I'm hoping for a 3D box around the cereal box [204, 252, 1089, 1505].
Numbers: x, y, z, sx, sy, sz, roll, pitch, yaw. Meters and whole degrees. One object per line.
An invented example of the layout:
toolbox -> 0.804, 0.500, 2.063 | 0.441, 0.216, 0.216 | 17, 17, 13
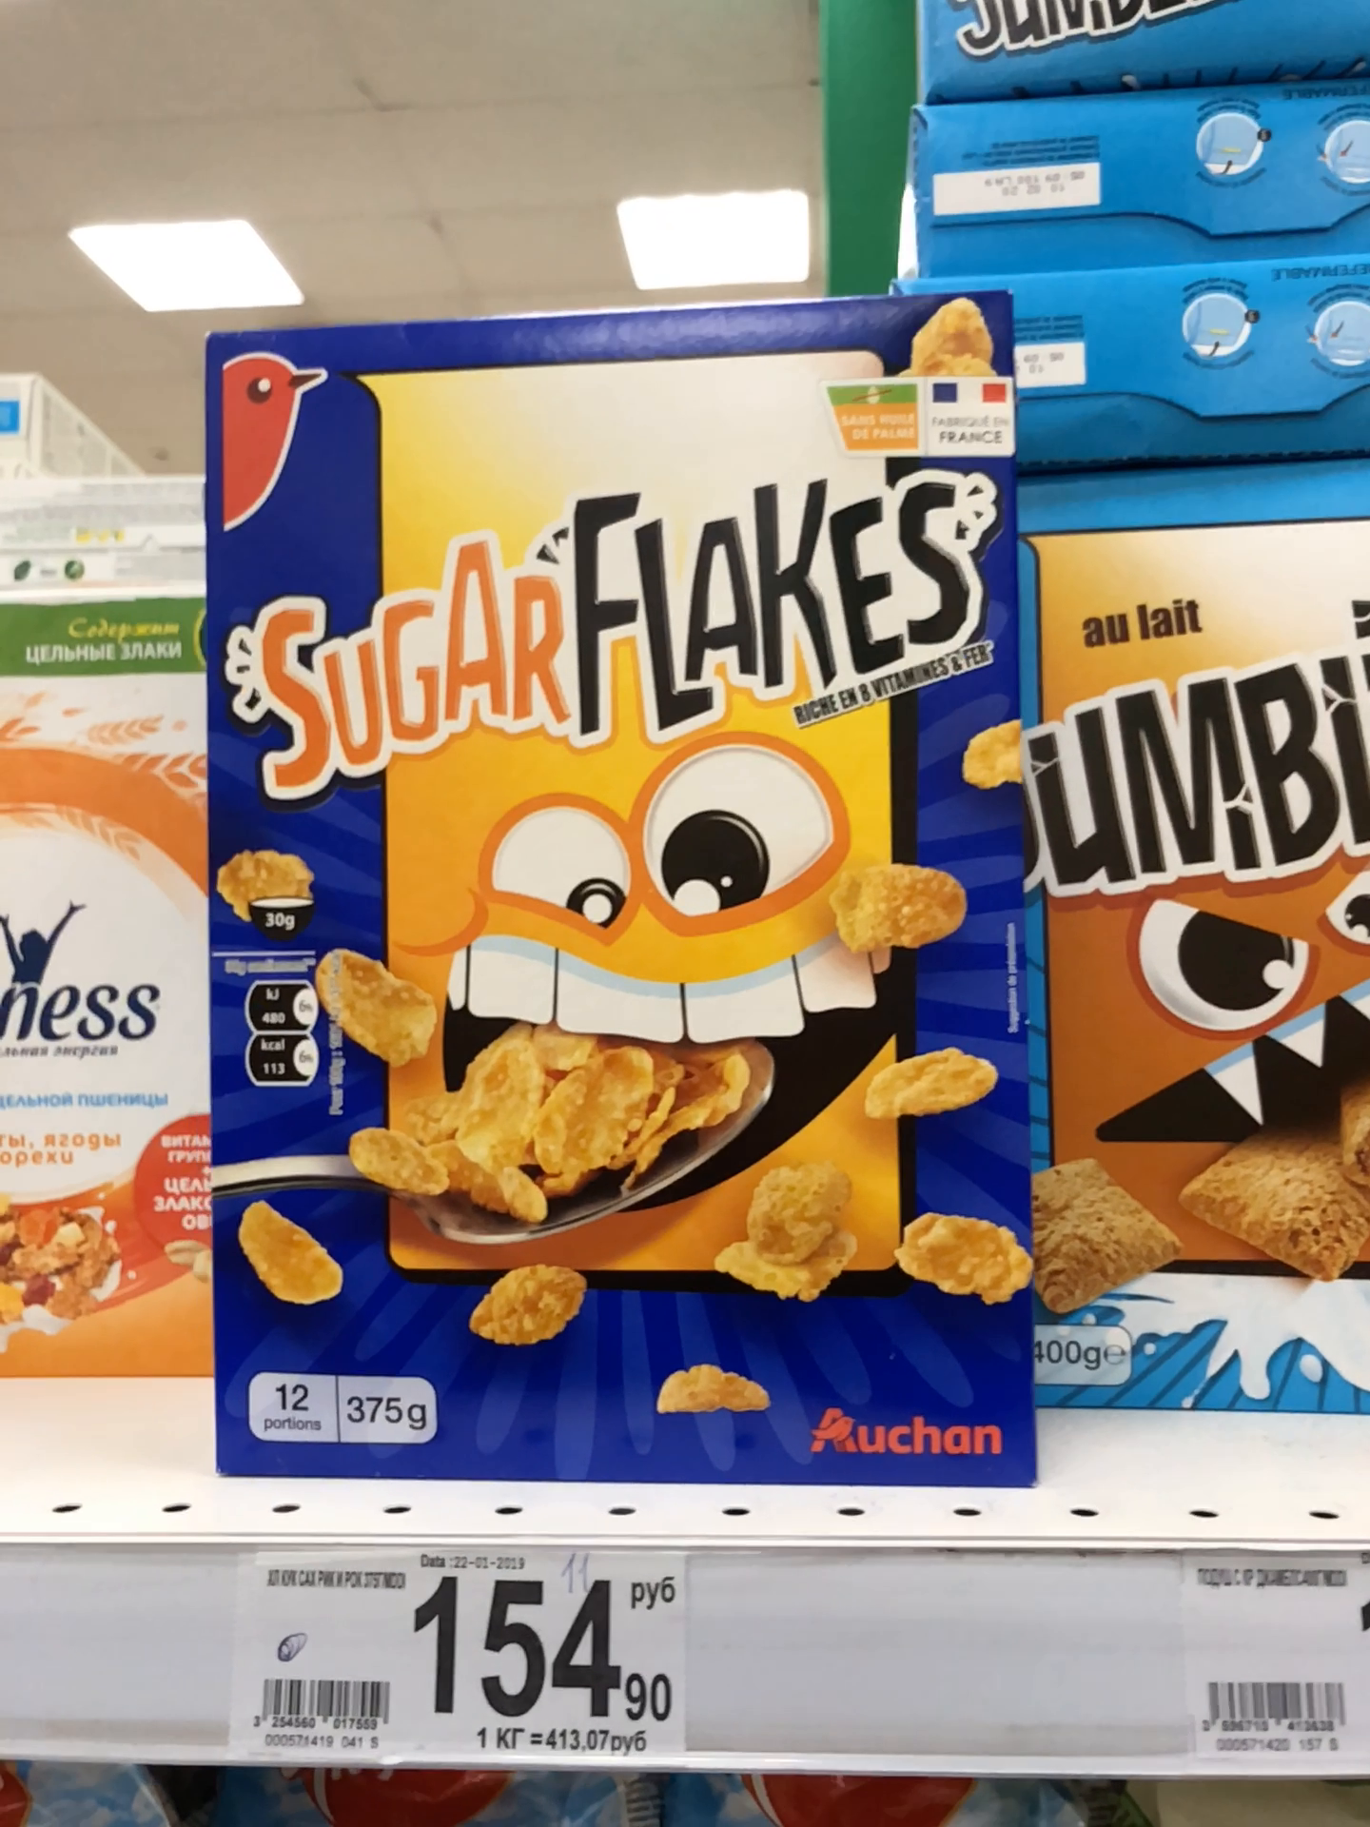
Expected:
cereal box -> -0.010, -0.008, 0.383 | 0.200, 0.280, 0.070 | -1, -3, 5
